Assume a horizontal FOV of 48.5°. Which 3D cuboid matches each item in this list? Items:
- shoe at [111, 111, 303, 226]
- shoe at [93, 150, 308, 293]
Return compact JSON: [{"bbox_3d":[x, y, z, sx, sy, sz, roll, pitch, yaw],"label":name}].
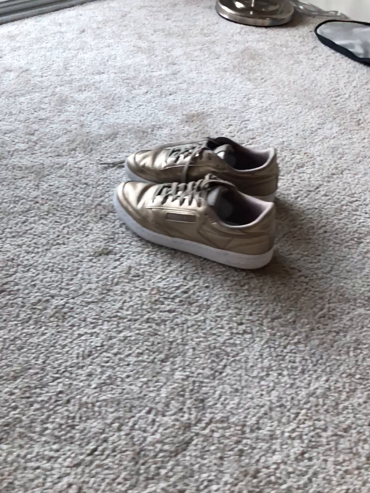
[{"bbox_3d":[0.035,-0.132,0.662,0.280,0.070,0.110,16,47,10],"label":"shoe"},{"bbox_3d":[0.020,-0.044,0.596,0.280,0.070,0.110,20,48,14],"label":"shoe"}]
